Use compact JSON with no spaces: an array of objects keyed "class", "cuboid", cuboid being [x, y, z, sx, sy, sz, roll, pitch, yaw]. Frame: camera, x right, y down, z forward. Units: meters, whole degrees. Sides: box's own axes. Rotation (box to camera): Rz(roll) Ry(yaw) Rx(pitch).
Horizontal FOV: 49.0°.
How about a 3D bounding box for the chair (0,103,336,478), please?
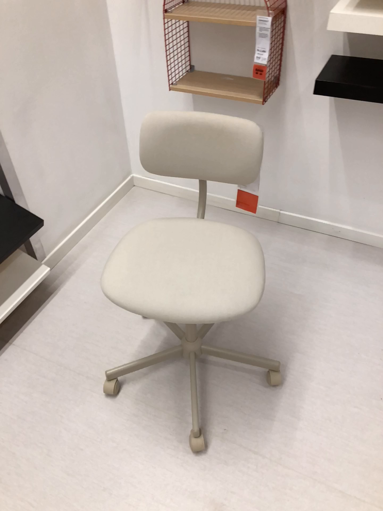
[{"class":"chair","cuboid":[0.005,0.086,1.243,0.640,0.765,0.694,7,44,10]}]
